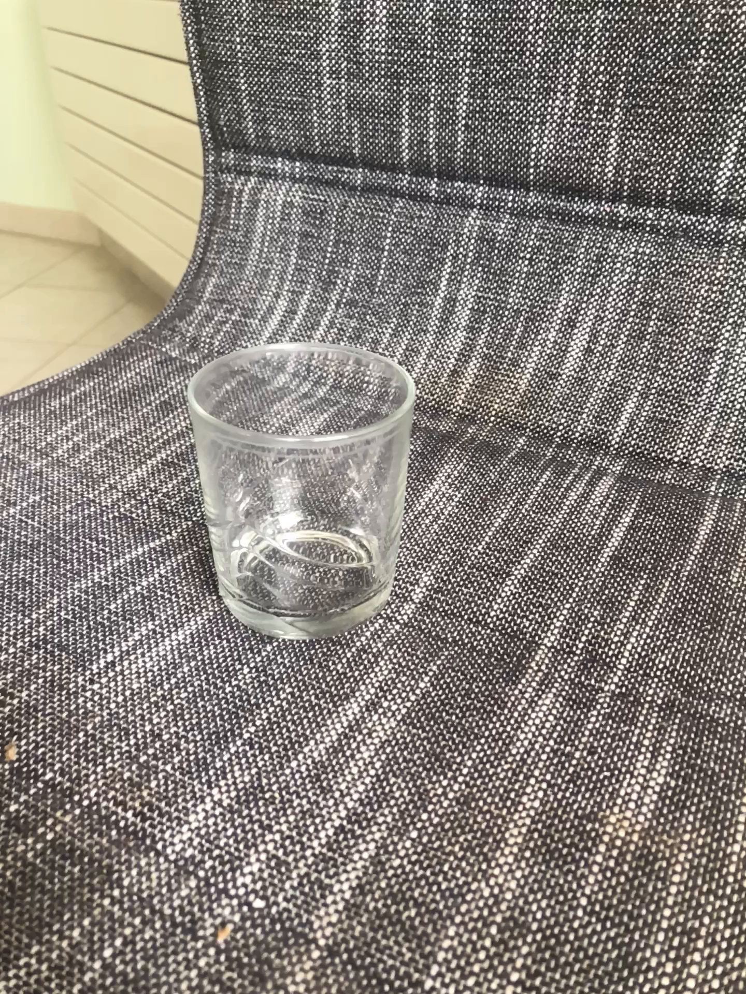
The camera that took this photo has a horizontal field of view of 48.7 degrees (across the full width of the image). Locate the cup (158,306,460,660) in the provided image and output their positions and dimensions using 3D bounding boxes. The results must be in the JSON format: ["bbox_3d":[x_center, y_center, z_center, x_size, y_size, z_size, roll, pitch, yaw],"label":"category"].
[{"bbox_3d":[-0.021,-0.009,0.277,0.070,0.080,0.070,-1,33,1],"label":"cup"}]
